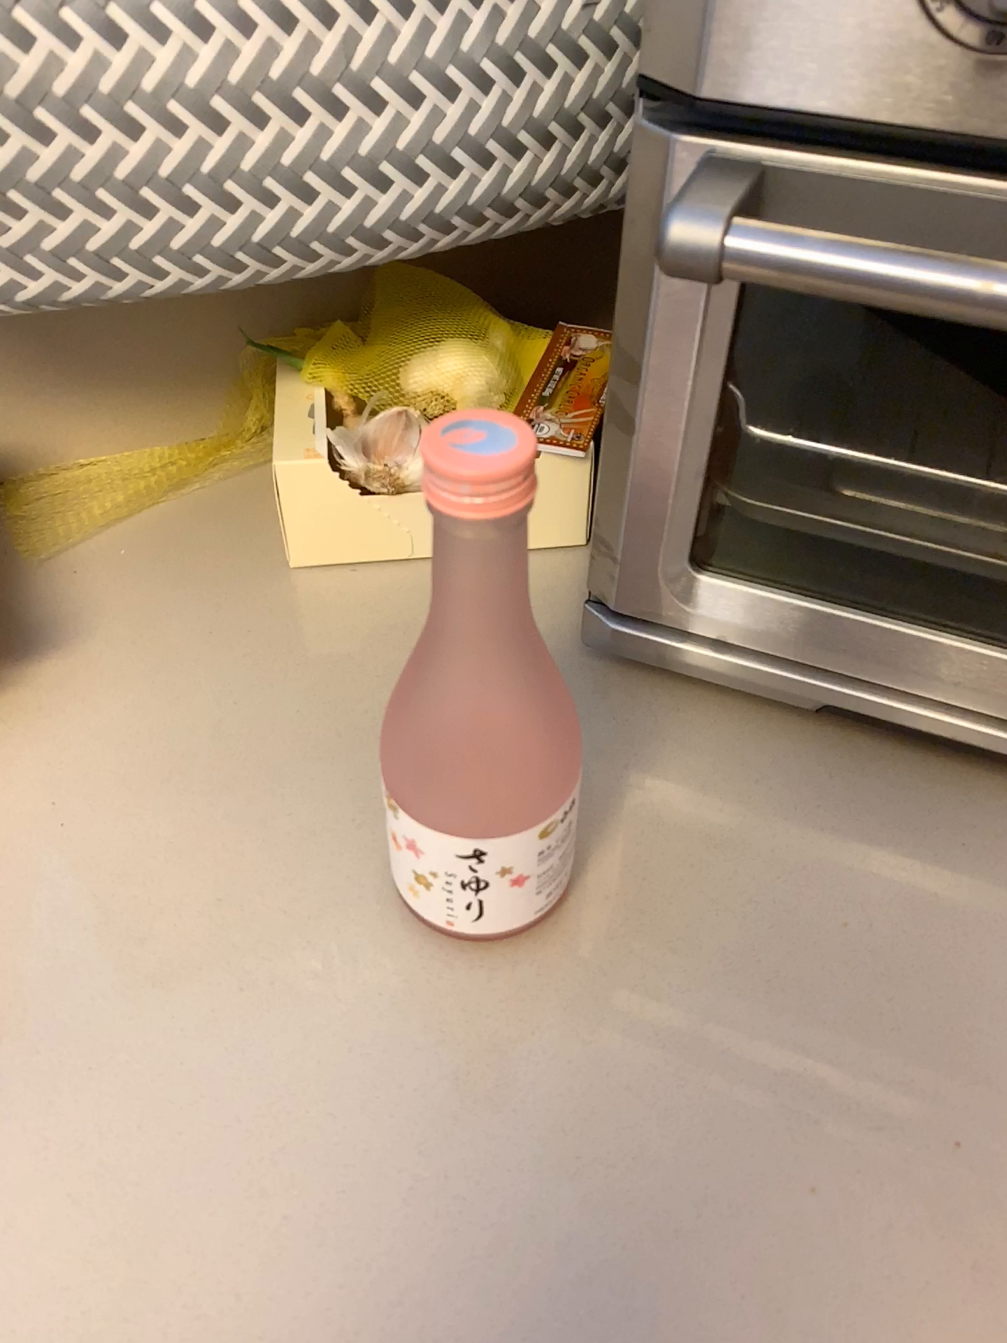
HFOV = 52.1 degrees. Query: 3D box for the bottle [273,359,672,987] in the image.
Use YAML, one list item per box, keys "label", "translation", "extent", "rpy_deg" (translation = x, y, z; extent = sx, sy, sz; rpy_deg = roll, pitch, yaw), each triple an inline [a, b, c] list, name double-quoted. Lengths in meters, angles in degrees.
- label: "bottle"
  translation: [-0.006, 0.008, 0.309]
  extent: [0.070, 0.169, 0.070]
  rpy_deg: [0, 45, 0]
